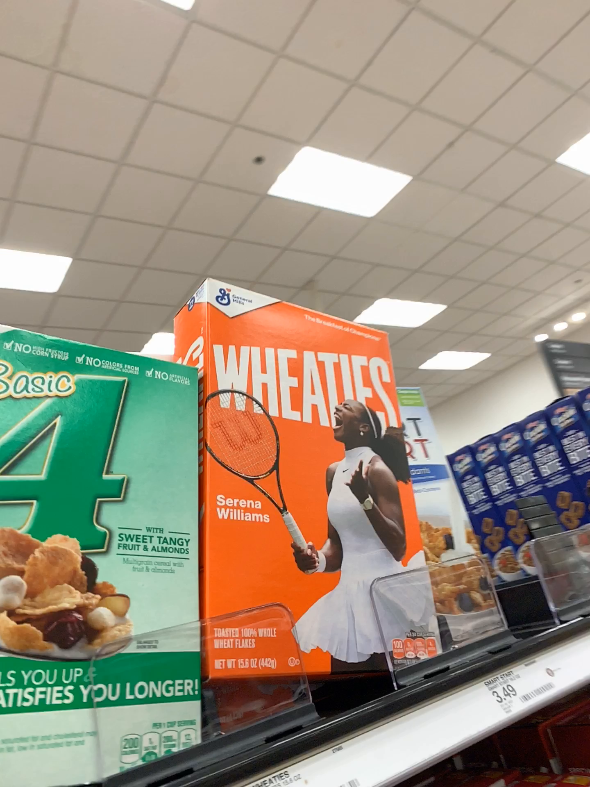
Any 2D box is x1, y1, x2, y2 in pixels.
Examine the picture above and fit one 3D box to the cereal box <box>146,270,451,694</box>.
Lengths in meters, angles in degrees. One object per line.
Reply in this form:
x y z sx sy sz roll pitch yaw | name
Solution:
-0.001 0.067 0.478 0.199 0.292 0.070 13 -32 -29 | cereal box
